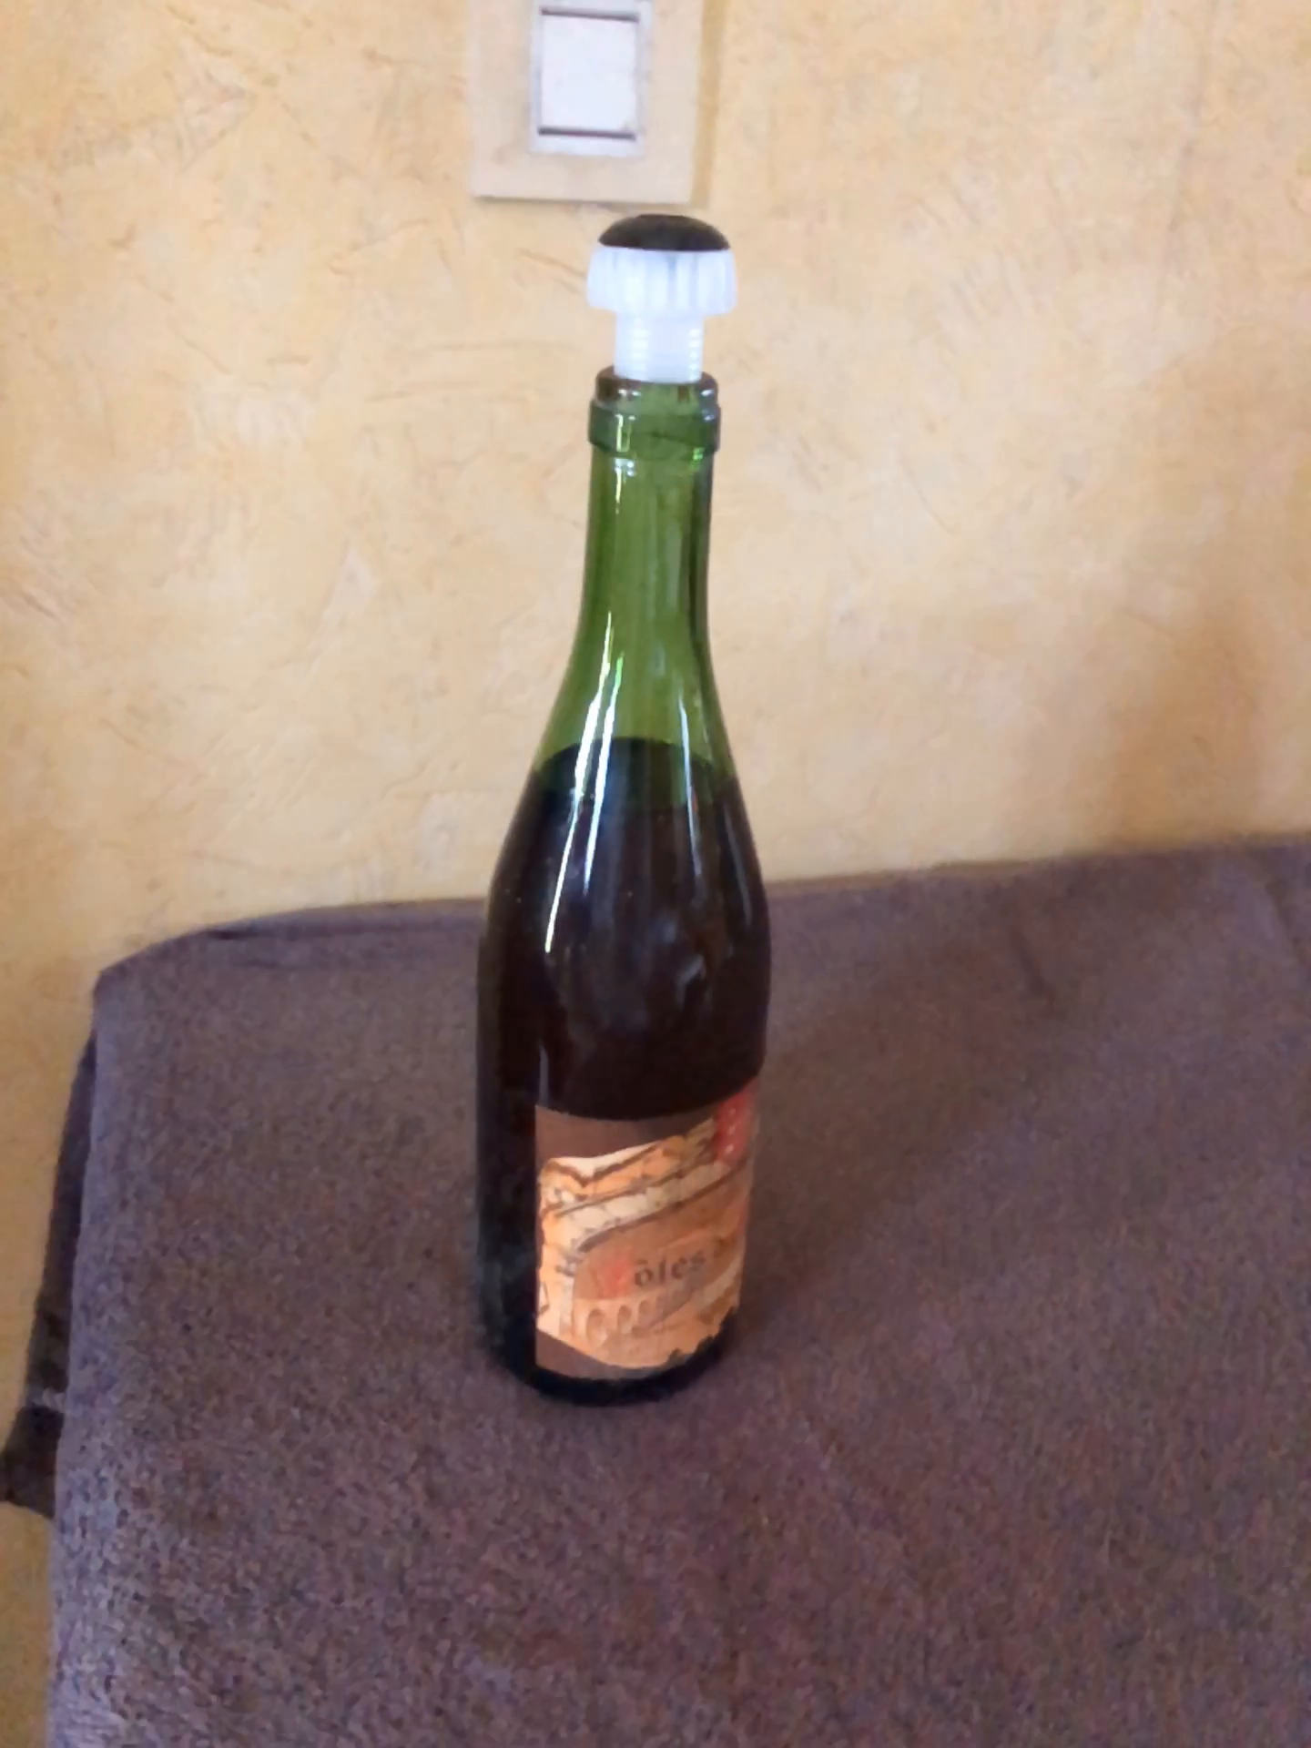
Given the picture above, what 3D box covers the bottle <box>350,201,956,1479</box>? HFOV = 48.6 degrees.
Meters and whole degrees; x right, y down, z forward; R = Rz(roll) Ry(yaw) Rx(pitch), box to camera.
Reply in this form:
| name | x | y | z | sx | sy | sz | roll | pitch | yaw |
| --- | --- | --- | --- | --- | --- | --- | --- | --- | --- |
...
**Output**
| name | x | y | z | sx | sy | sz | roll | pitch | yaw |
| --- | --- | --- | --- | --- | --- | --- | --- | --- | --- |
| bottle | -0.008 | -0.001 | 0.378 | 0.090 | 0.308 | 0.090 | 2 | 29 | -1 |
